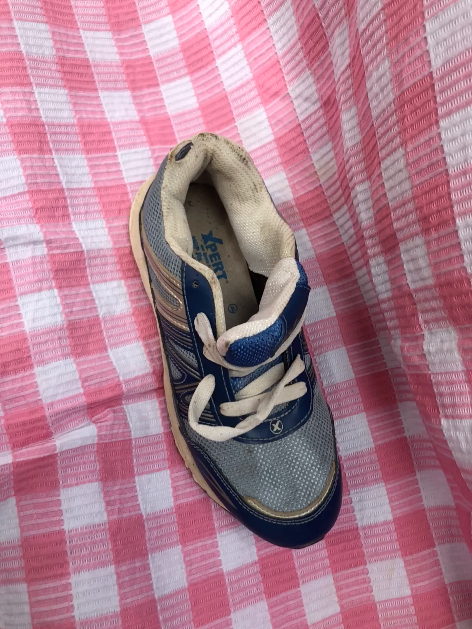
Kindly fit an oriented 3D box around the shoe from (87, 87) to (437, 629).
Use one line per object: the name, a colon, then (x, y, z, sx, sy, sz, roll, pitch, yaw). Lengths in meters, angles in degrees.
shoe: (0.001, 0.014, 0.329, 0.110, 0.100, 0.280, -14, 80, -23)
